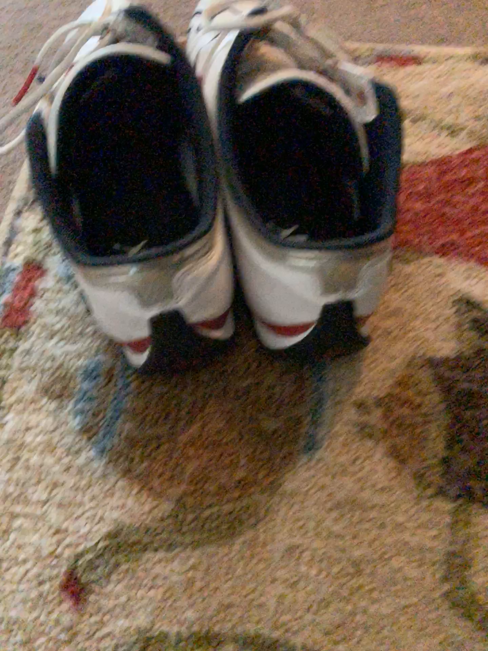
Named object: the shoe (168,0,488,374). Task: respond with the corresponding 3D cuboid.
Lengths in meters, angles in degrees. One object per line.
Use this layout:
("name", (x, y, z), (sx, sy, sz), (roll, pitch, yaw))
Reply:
("shoe", (0.023, -0.132, 0.297), (0.100, 0.106, 0.292), (-7, 63, -5))

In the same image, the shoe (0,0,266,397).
("shoe", (-0.074, -0.123, 0.285), (0.100, 0.106, 0.292), (-11, 63, -7))
